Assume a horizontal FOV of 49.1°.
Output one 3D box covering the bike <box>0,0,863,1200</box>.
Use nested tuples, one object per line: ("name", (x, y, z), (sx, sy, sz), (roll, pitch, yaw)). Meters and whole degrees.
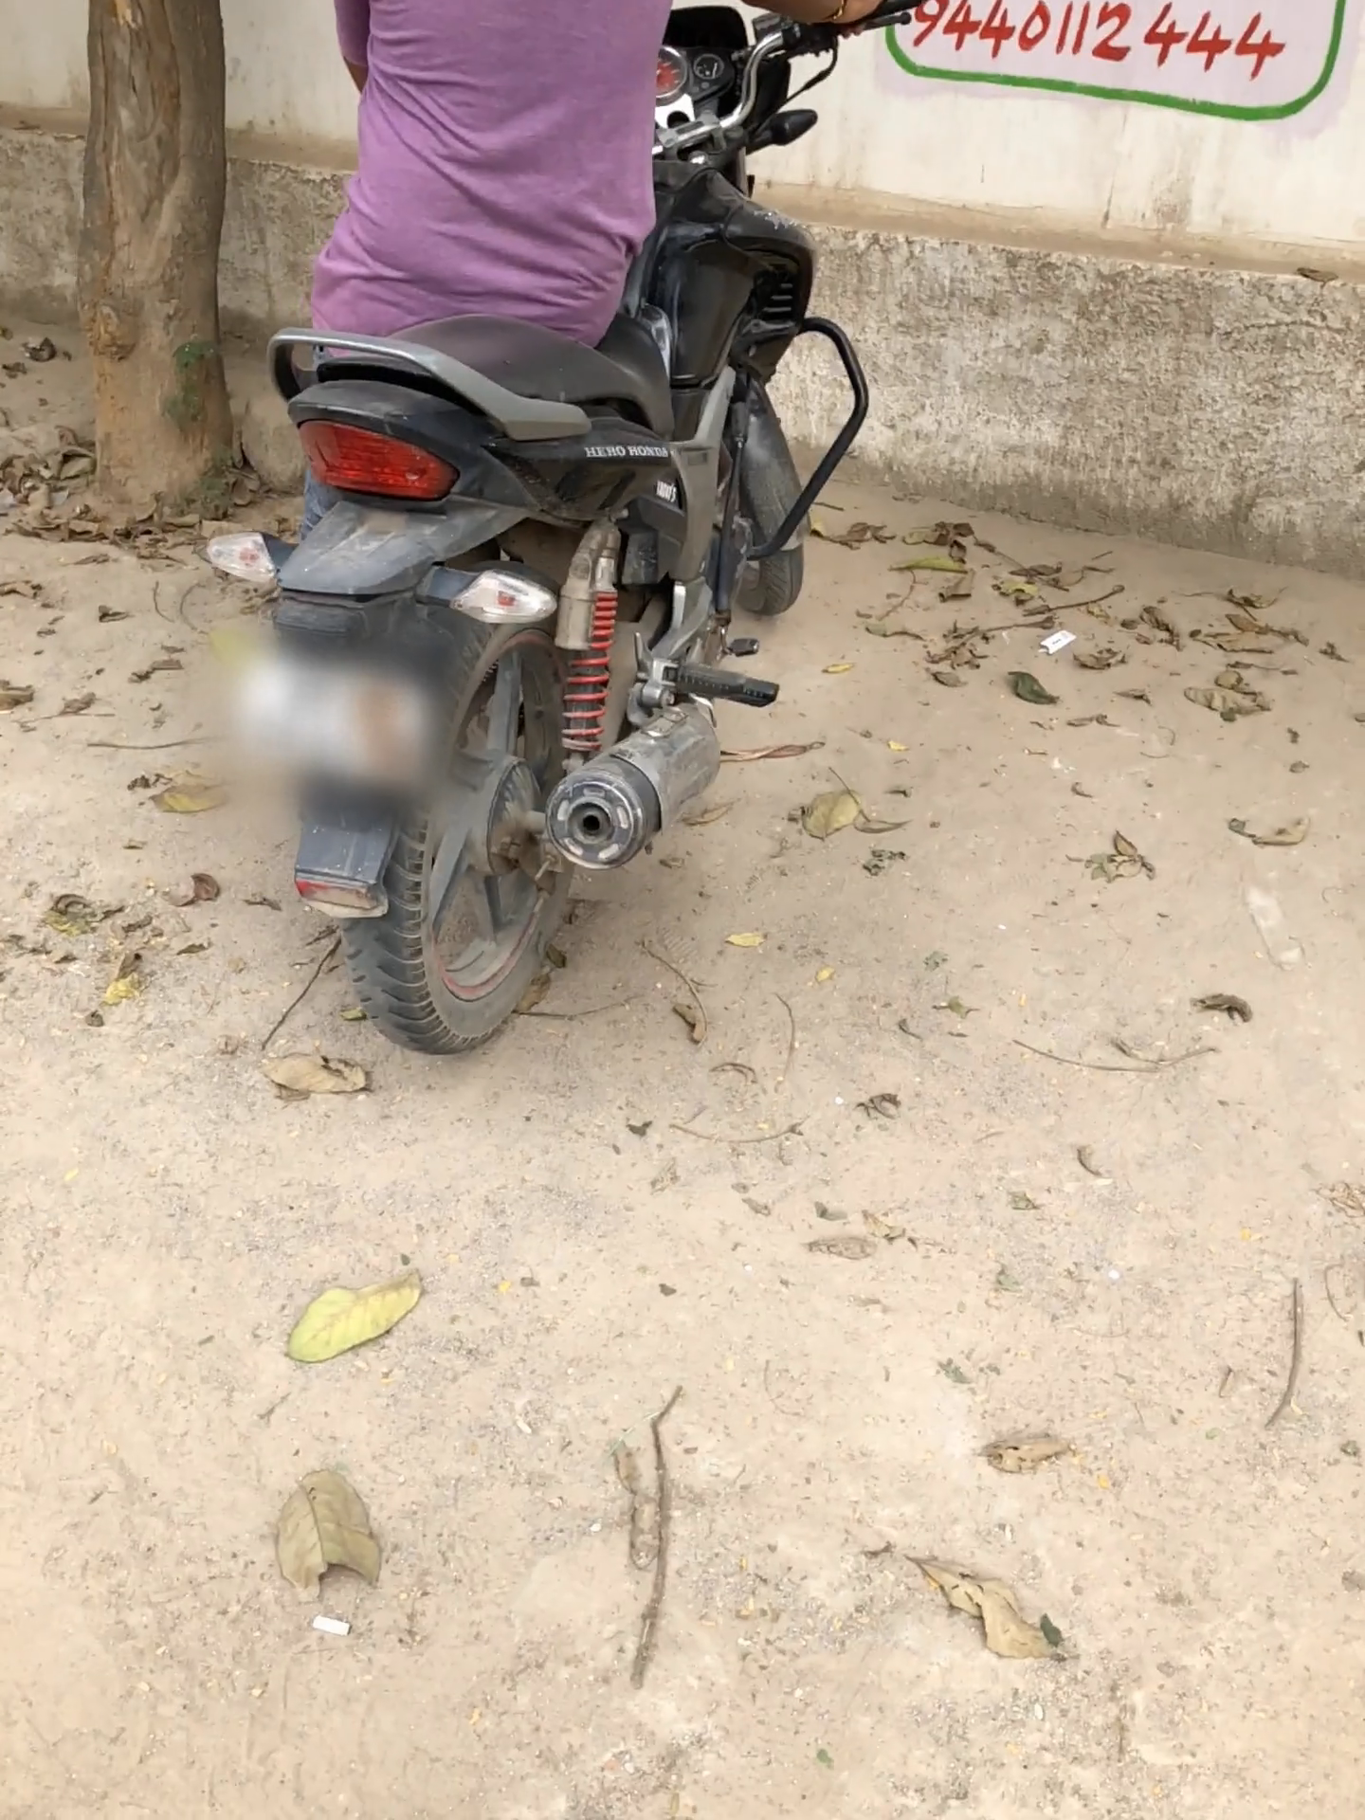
("bike", (-0.224, -0.778, 2.262), (0.823, 1.190, 1.851), (5, 36, 7))
